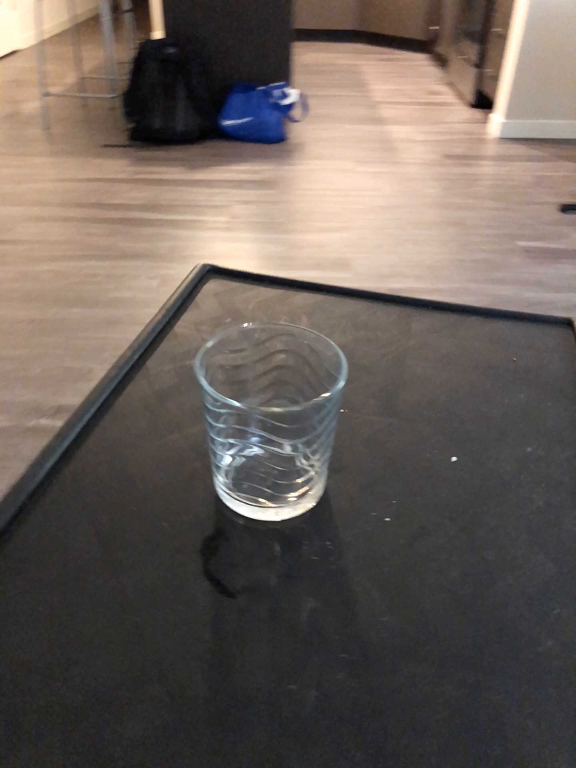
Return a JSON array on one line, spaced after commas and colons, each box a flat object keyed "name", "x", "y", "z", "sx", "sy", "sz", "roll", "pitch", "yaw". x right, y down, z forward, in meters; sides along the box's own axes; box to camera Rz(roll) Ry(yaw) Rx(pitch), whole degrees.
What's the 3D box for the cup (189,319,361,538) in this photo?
[{"name": "cup", "x": -0.008, "y": 0.027, "z": 0.398, "sx": 0.090, "sy": 0.099, "sz": 0.090, "roll": 1, "pitch": 36, "yaw": -1}]
